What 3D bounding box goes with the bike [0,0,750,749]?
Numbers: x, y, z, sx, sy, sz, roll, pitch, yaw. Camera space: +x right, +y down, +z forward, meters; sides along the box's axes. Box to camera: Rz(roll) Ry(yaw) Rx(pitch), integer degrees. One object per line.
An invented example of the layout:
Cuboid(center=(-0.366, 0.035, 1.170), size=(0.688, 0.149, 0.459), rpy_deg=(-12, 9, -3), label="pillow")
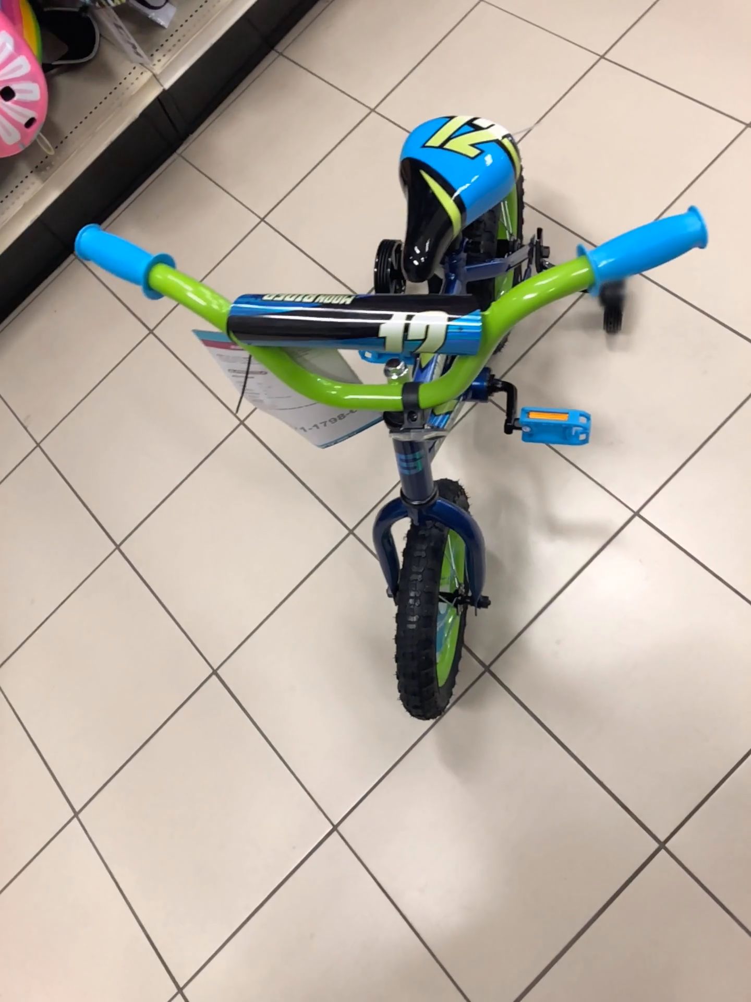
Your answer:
Cuboid(center=(0.075, -0.192, 0.930), size=(0.549, 0.677, 0.795), rpy_deg=(4, 72, 21), label="bike")
